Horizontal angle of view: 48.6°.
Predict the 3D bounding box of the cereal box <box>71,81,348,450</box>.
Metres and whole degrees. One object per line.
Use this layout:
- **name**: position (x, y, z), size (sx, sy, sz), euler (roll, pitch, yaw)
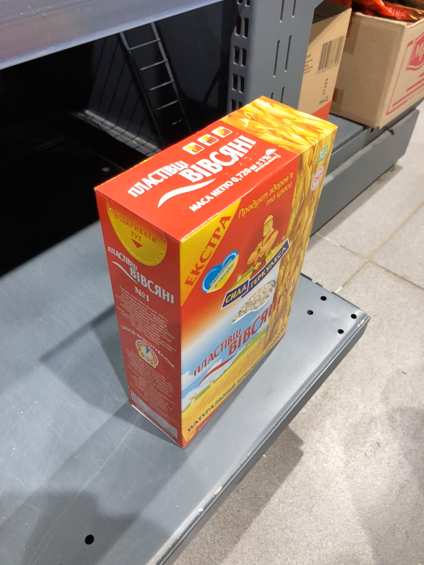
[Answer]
- **cereal box**: position (0.004, -0.007, 0.340), size (0.070, 0.208, 0.161), euler (31, 52, 26)
